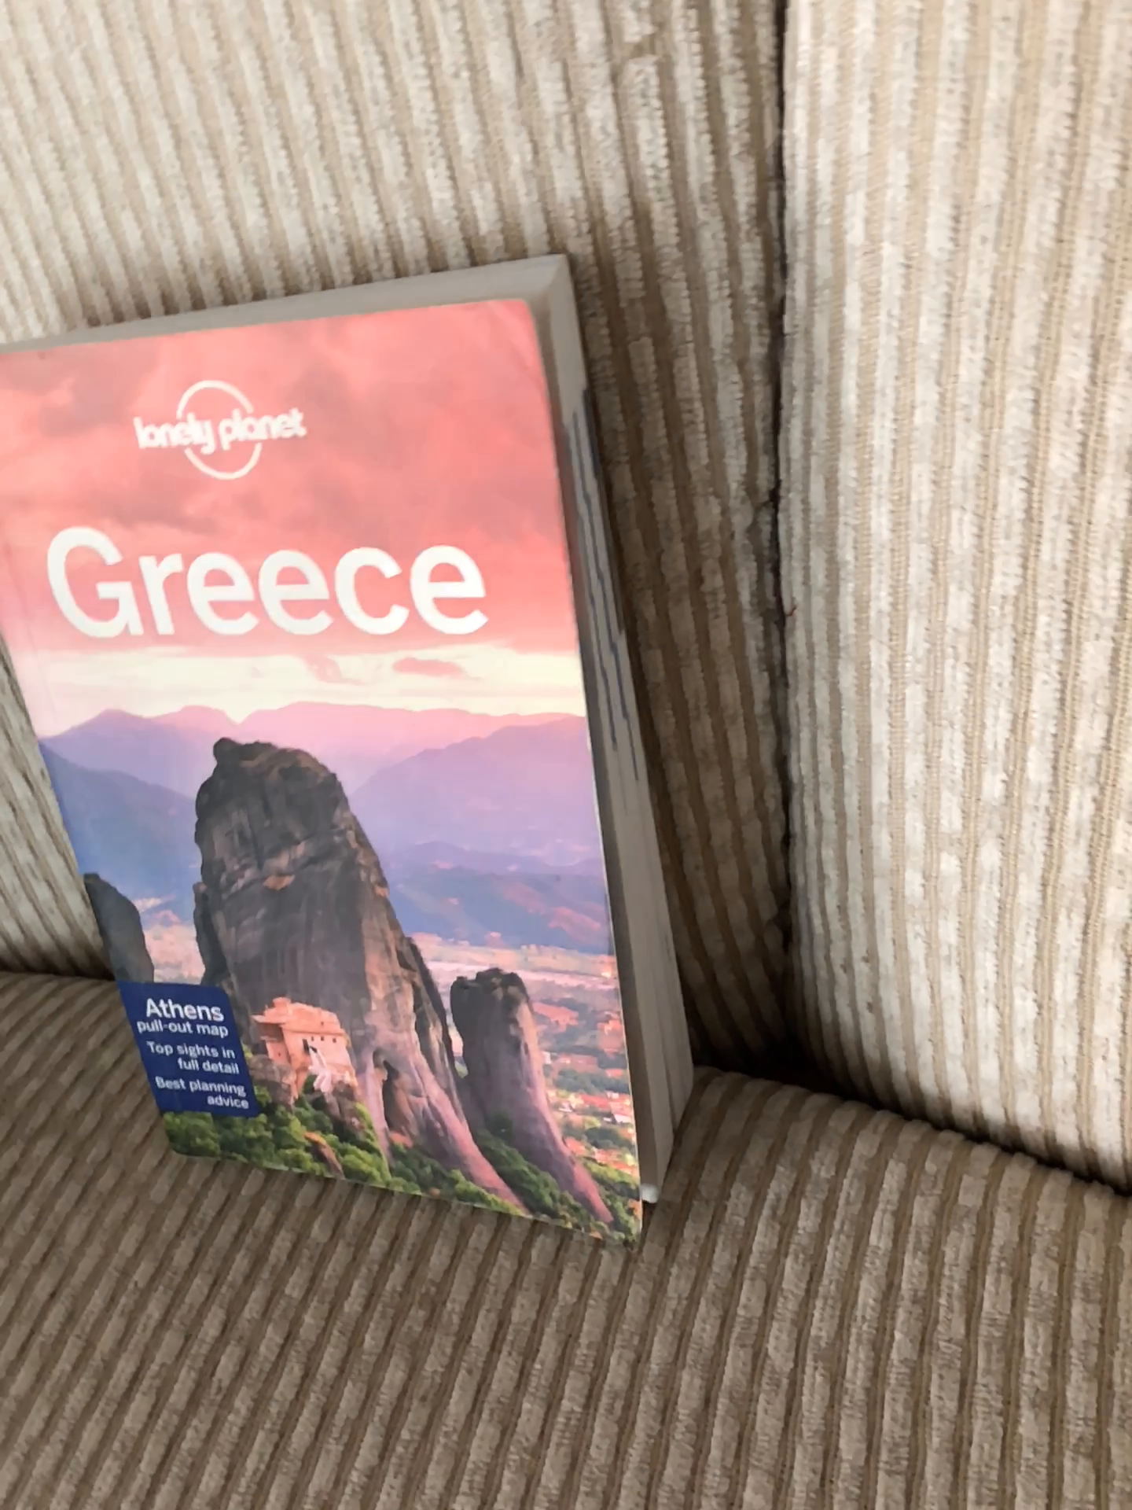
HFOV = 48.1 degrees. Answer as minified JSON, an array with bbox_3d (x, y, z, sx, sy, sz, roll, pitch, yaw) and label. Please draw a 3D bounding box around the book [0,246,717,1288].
[{"bbox_3d":[-0.046,0.008,0.271,0.133,0.201,0.041,3,25,25],"label":"book"}]
